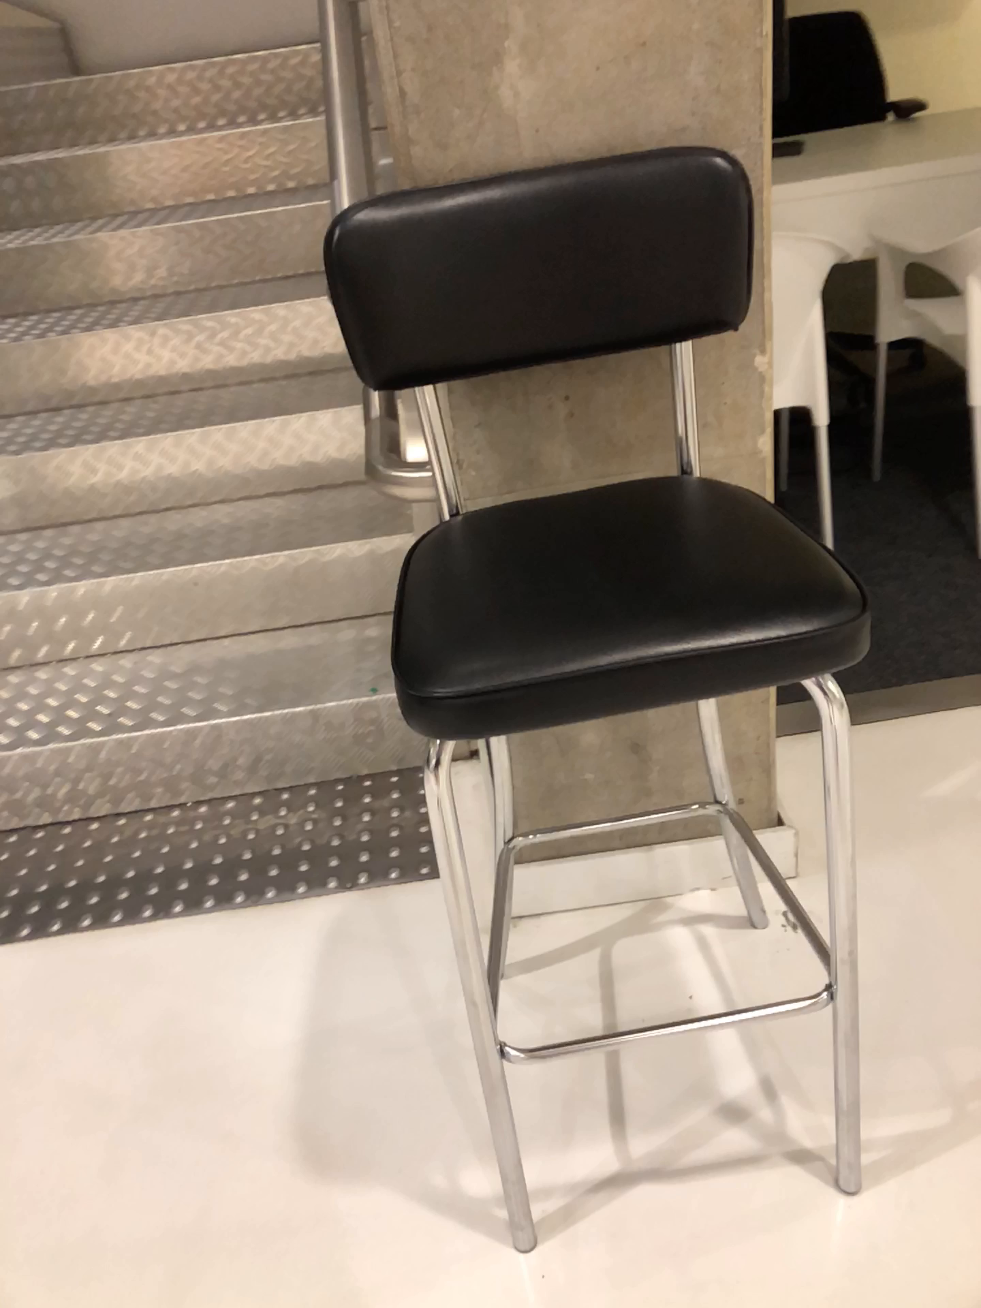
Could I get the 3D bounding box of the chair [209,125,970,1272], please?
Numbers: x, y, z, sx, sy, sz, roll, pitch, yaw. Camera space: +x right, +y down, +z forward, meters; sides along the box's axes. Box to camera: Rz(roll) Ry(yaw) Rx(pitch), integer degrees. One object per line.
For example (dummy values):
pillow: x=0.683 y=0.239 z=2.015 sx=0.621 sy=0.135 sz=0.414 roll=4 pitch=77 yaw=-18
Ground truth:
chair: x=0.106 y=0.069 z=1.061 sx=0.450 sy=0.983 sz=0.443 roll=-9 pitch=30 yaw=0
